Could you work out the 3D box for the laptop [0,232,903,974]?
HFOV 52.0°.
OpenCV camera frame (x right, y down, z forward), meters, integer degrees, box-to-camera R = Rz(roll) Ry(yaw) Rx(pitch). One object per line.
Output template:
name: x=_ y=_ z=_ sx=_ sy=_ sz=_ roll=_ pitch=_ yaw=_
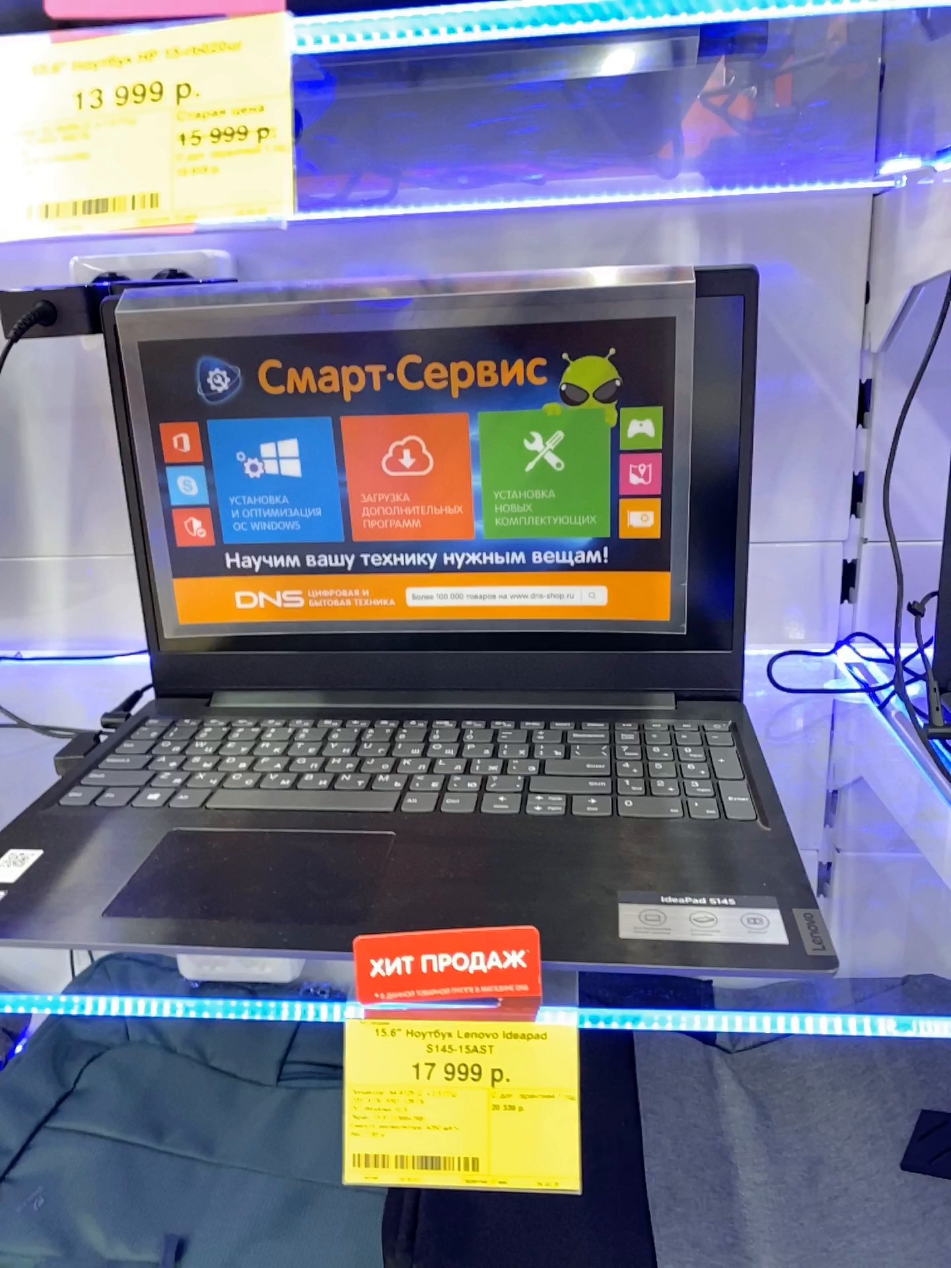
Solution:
laptop: x=-0.043 y=-0.036 z=0.448 sx=0.361 sy=0.239 sz=0.258 roll=0 pitch=17 yaw=7
